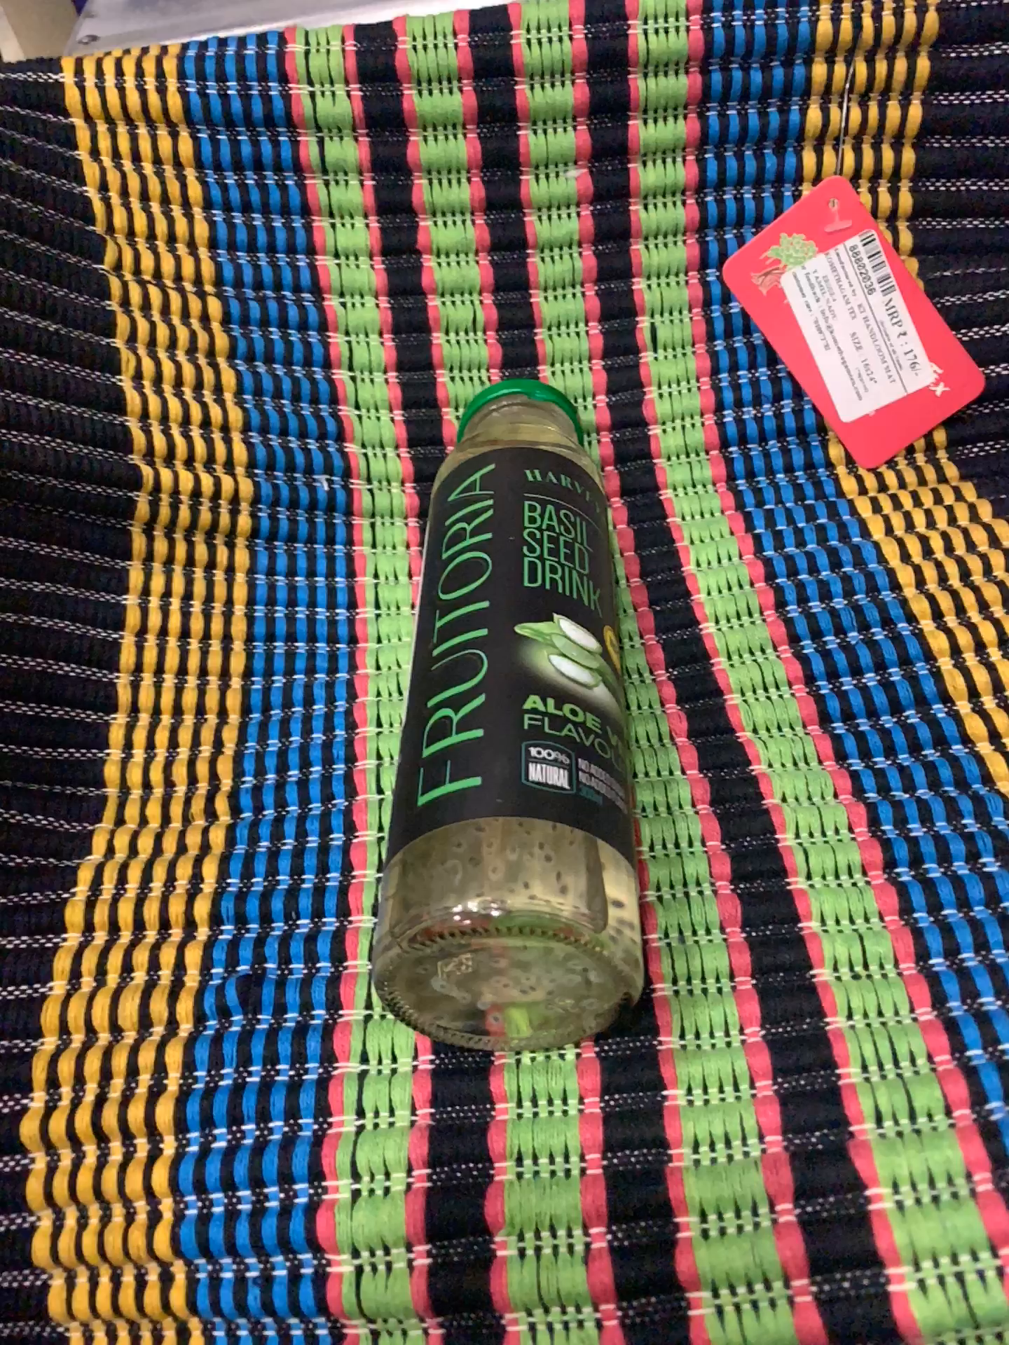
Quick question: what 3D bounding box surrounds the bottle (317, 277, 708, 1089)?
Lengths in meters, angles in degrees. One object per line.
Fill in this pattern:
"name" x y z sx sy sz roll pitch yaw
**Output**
"bottle" 0.004 -0.012 0.259 0.050 0.060 0.201 21 46 -19
